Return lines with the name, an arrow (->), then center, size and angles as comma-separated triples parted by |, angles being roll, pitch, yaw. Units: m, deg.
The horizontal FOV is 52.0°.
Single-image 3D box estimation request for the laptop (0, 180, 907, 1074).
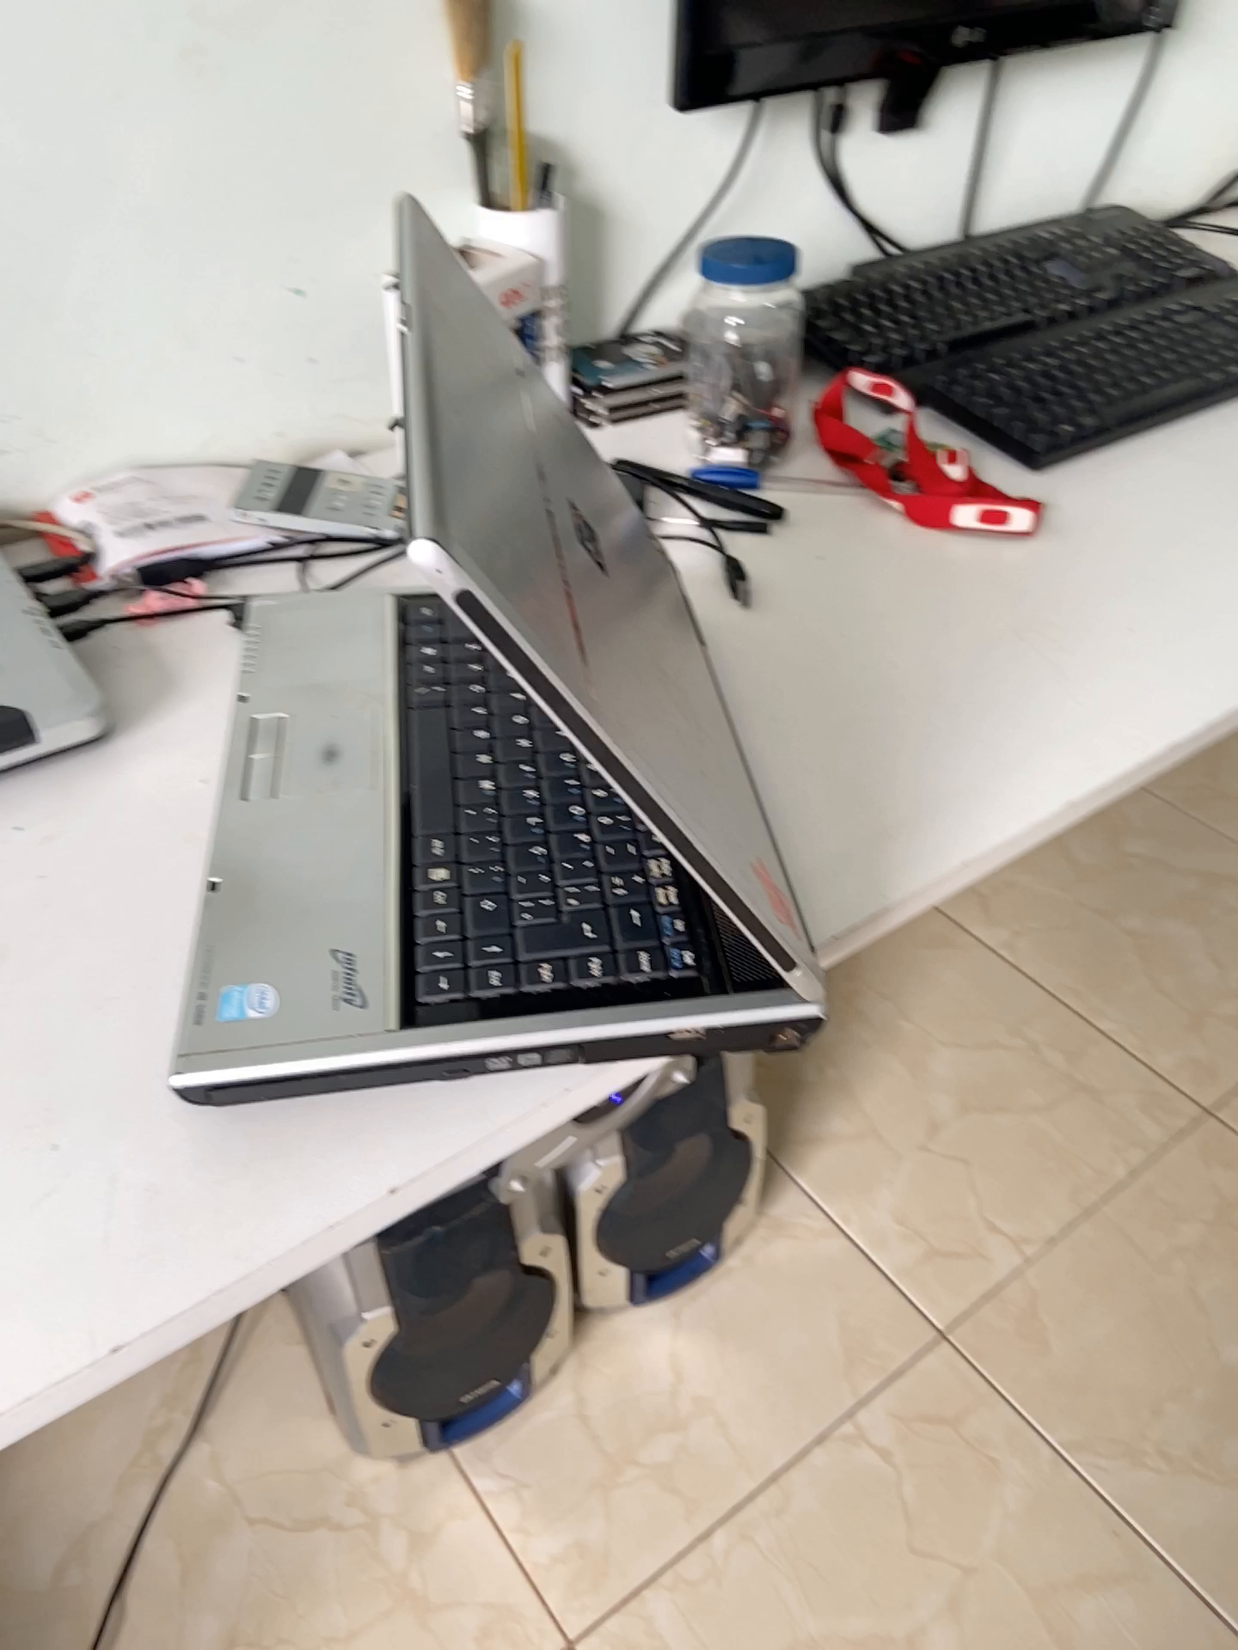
laptop -> -0.063, -0.109, 0.526 | 0.236, 0.210, 0.339 | -5, 40, -8
